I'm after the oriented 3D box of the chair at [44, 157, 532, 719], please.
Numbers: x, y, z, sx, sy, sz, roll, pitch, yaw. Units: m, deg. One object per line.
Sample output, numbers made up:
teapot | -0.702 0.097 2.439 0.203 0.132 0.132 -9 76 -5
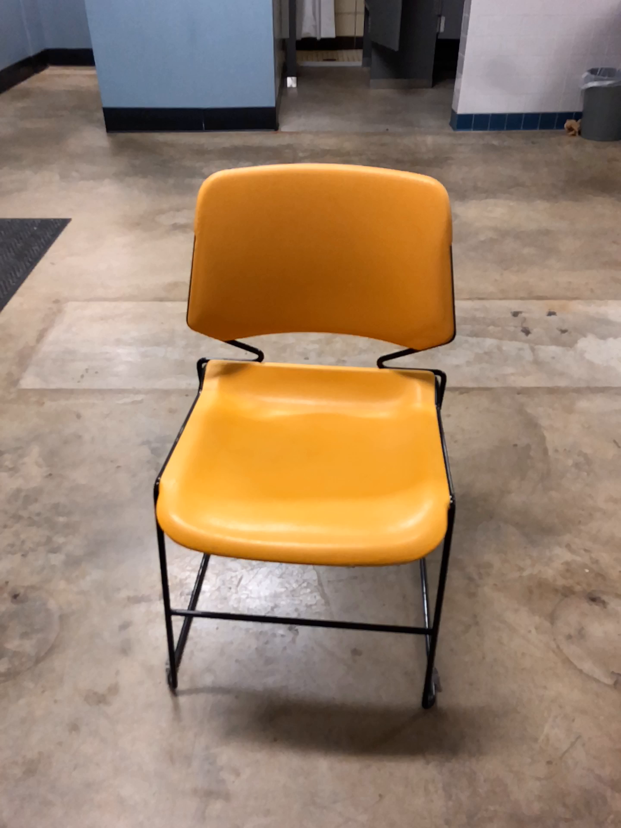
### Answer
chair | -0.009 0.043 1.178 0.529 0.795 0.527 2 36 4
